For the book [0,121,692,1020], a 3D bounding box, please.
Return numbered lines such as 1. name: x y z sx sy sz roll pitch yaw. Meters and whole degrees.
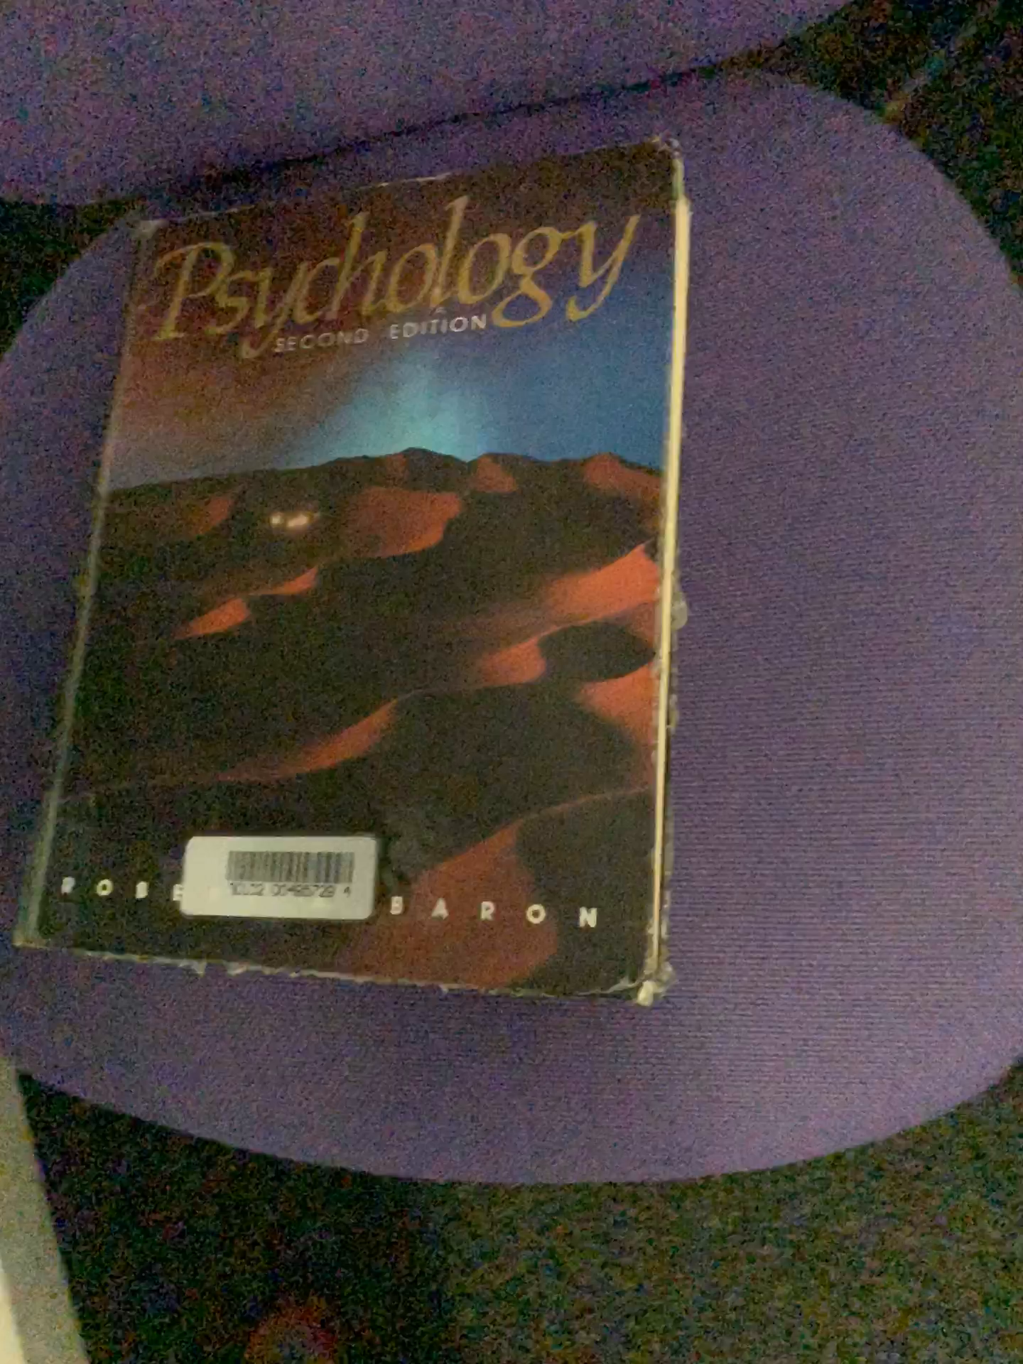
1. book: -0.059 -0.041 0.366 0.230 0.040 0.280 0 78 18
